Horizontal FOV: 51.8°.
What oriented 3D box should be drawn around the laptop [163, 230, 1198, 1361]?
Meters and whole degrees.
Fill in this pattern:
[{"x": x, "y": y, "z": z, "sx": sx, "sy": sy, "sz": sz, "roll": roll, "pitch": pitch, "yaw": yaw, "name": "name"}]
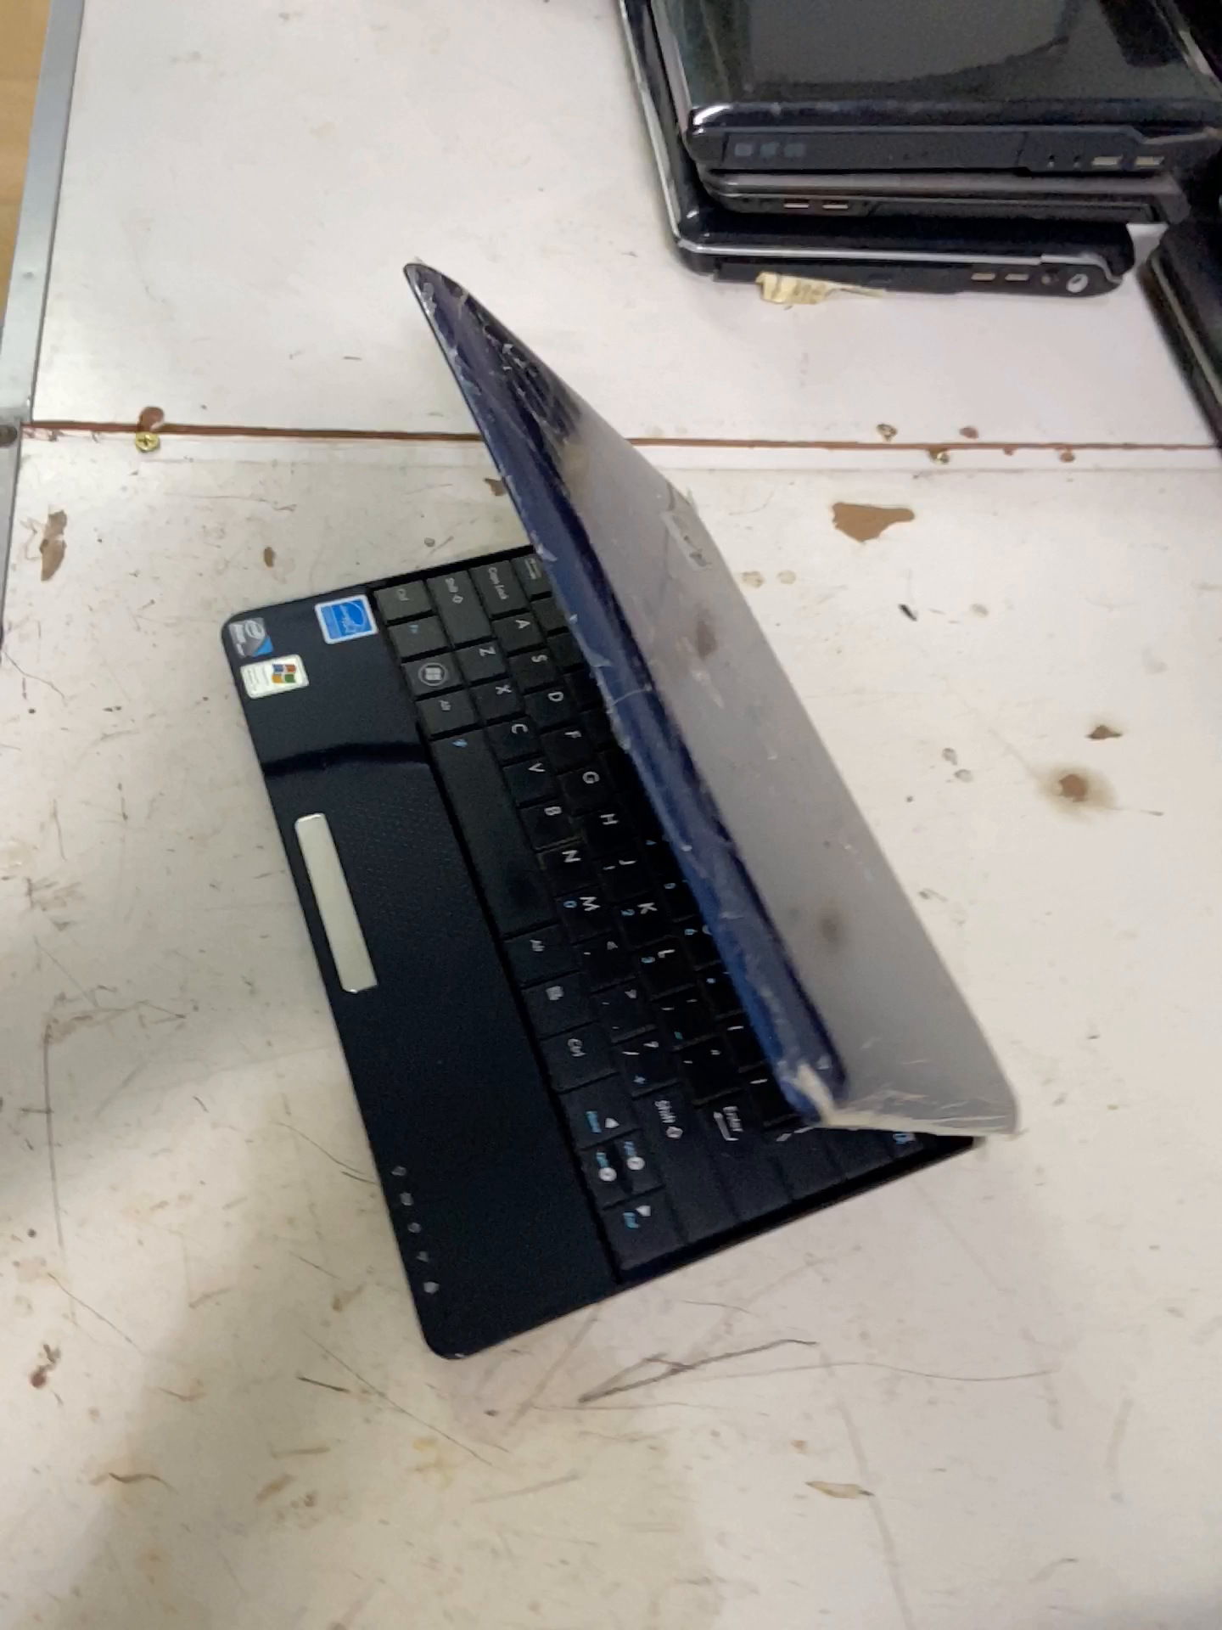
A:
[{"x": -0.007, "y": -0.016, "z": 0.363, "sx": 0.169, "sy": 0.121, "sz": 0.259, "roll": -17, "pitch": 63, "yaw": -14, "name": "laptop"}]
